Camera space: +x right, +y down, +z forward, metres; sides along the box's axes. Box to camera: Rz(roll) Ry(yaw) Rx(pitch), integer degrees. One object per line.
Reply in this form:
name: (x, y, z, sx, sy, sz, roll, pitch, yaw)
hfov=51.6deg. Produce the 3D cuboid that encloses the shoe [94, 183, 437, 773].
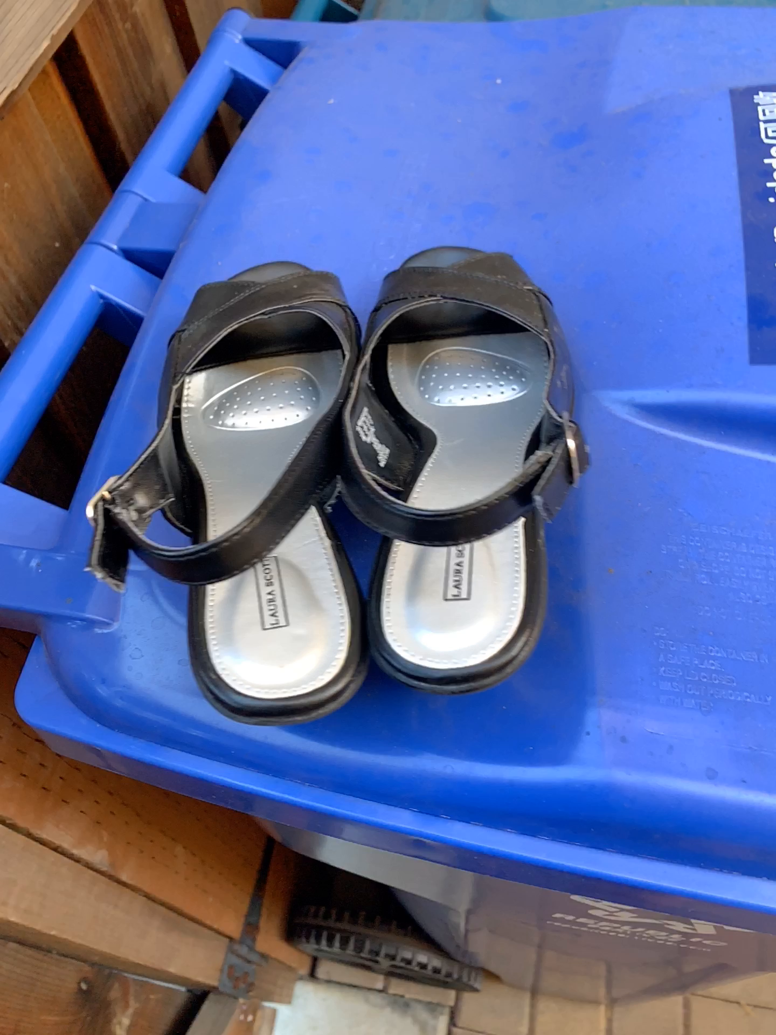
shoe: (-0.055, -0.039, 0.330, 0.090, 0.089, 0.252, -5, 46, -9)

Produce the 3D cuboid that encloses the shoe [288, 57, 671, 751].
shoe: (0.025, -0.055, 0.302, 0.090, 0.099, 0.252, -5, 54, 6)
